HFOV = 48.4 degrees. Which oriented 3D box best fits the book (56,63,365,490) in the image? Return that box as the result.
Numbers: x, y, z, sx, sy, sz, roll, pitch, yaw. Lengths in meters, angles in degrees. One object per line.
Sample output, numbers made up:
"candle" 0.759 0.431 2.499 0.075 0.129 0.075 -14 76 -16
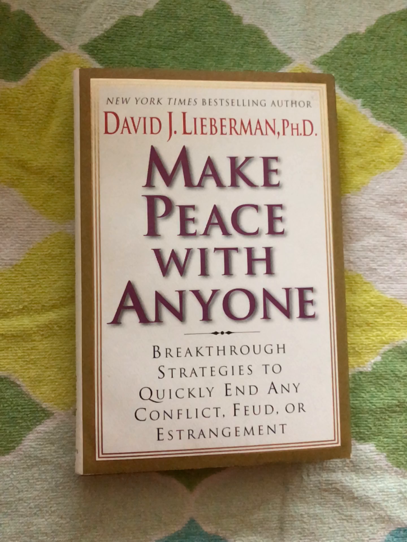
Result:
"book" 0.001 -0.002 0.236 0.145 0.030 0.204 -1 85 -5
